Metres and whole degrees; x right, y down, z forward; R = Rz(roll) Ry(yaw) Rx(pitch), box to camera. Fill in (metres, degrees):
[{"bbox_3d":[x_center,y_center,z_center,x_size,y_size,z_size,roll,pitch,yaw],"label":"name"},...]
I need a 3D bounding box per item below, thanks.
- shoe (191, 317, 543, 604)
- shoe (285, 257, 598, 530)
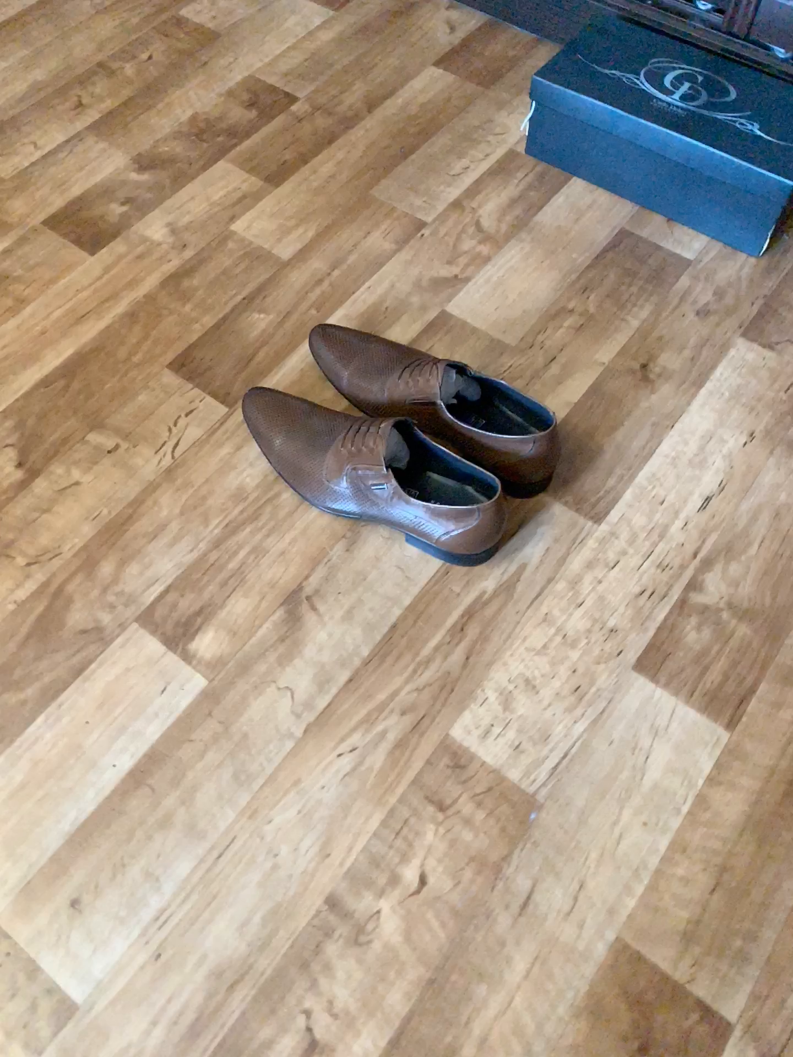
[{"bbox_3d":[-0.031,-0.069,0.771,0.310,0.100,0.110,30,66,16],"label":"shoe"},{"bbox_3d":[0.039,-0.141,0.833,0.300,0.120,0.100,33,67,18],"label":"shoe"}]
